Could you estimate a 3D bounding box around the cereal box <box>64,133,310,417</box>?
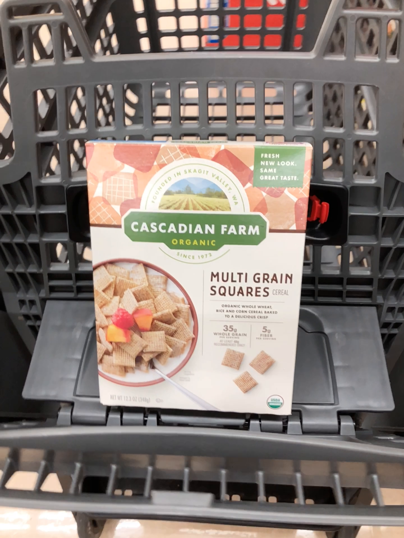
[{"bbox_3d":[-0.011,0.007,0.427,0.200,0.260,0.060,1,16,4],"label":"cereal box"}]
